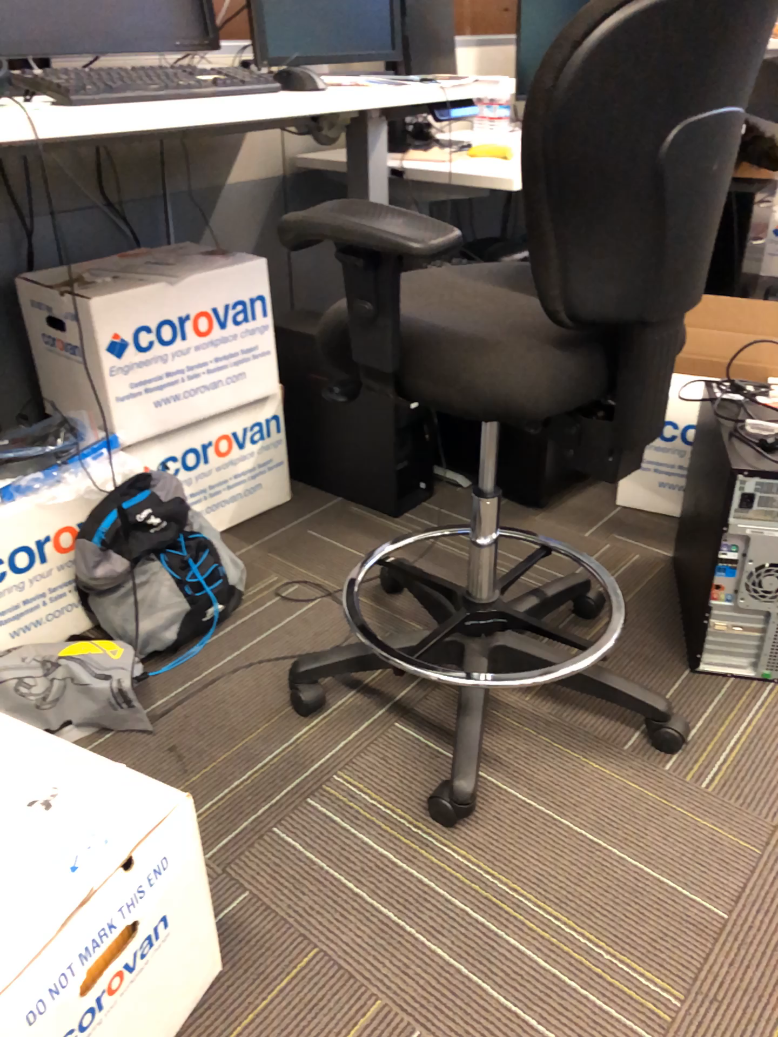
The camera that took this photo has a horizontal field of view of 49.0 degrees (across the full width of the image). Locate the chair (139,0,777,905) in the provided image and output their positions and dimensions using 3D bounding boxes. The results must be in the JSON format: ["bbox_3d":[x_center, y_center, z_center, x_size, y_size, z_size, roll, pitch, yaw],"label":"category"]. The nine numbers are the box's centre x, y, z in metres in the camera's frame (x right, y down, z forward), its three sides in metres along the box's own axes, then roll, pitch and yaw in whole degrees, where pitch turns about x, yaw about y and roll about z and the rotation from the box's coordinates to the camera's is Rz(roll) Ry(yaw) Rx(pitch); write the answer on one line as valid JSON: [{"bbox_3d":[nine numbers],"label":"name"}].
[{"bbox_3d":[0.179,-0.203,1.322,0.732,1.134,0.642,24,38,38],"label":"chair"}]
